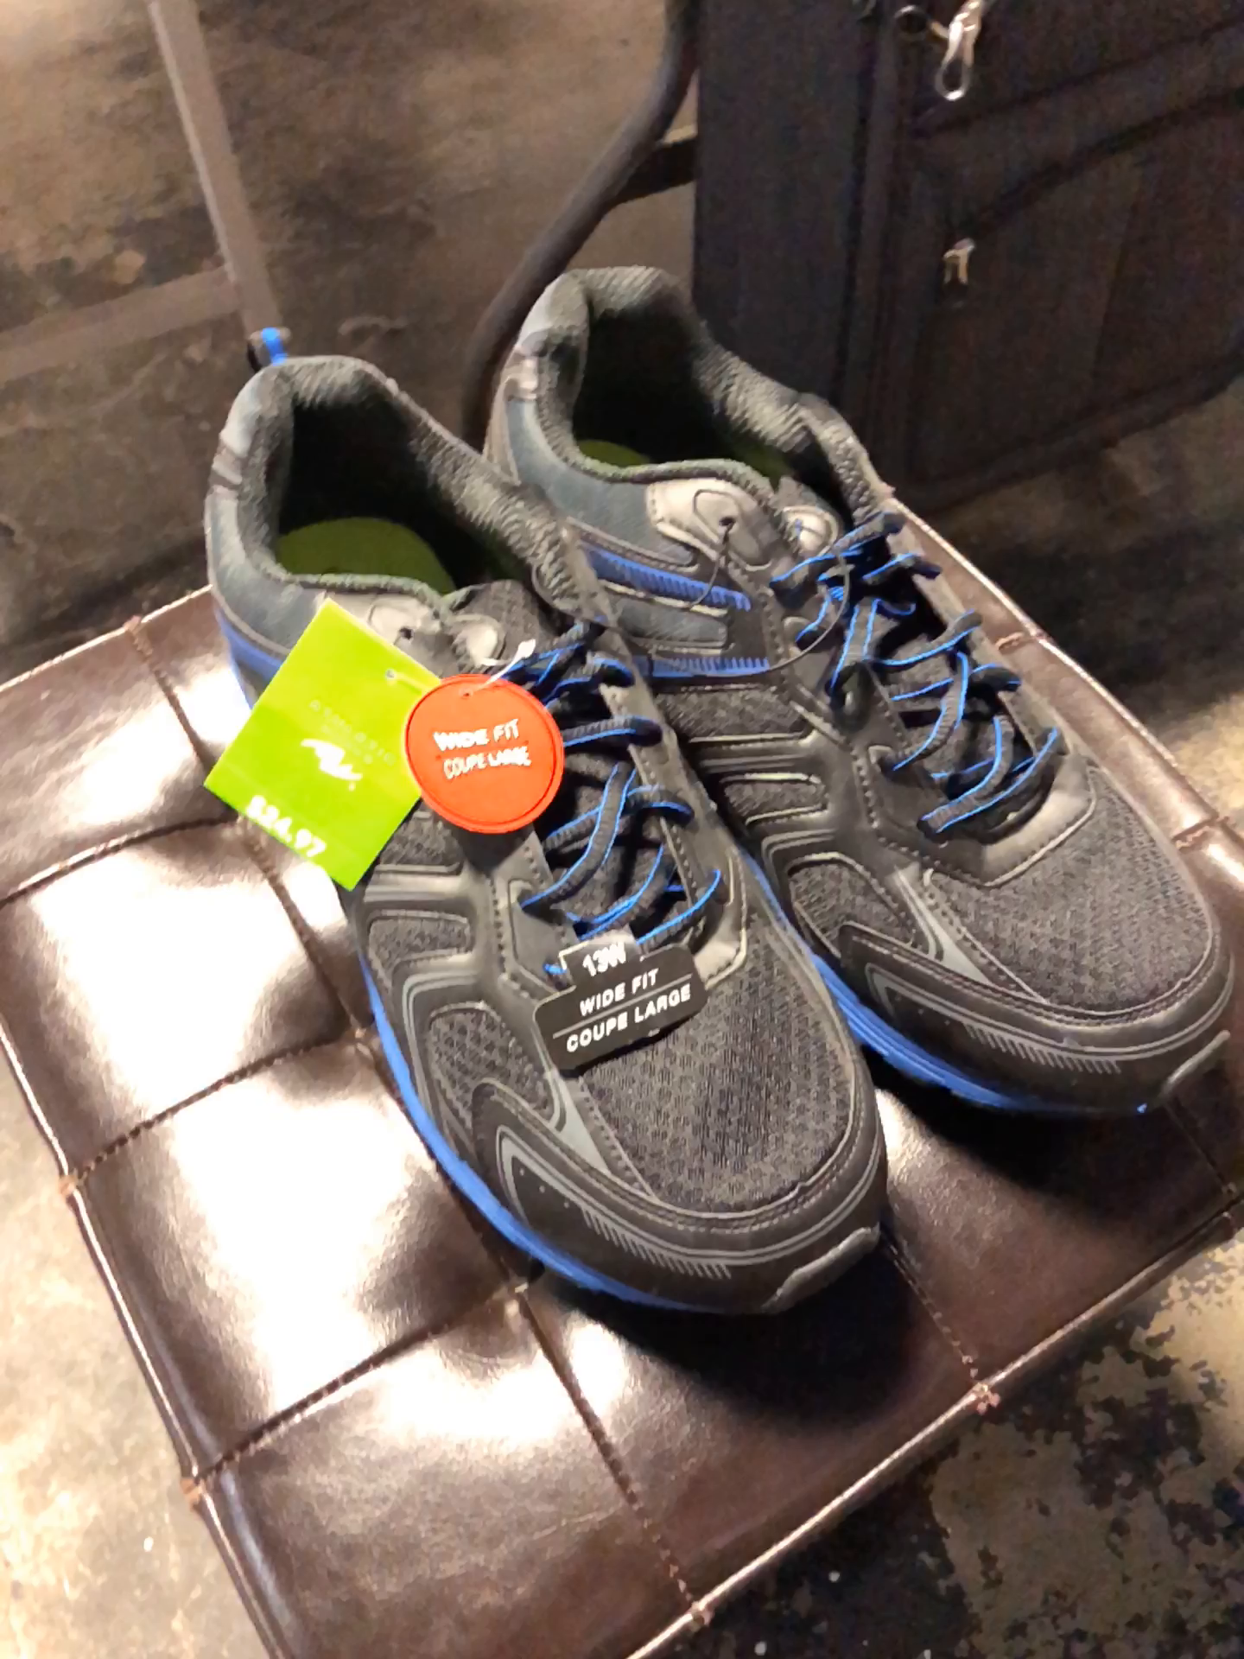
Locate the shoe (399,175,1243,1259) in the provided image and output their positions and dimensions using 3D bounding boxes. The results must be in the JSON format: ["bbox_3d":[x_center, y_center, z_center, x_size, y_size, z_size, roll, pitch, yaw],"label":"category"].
[{"bbox_3d":[0.074,-0.051,0.413,0.130,0.099,0.311,-30,63,-18],"label":"shoe"}]

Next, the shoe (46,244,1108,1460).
[{"bbox_3d":[-0.029,-0.007,0.363,0.120,0.119,0.281,-26,62,-16],"label":"shoe"}]
